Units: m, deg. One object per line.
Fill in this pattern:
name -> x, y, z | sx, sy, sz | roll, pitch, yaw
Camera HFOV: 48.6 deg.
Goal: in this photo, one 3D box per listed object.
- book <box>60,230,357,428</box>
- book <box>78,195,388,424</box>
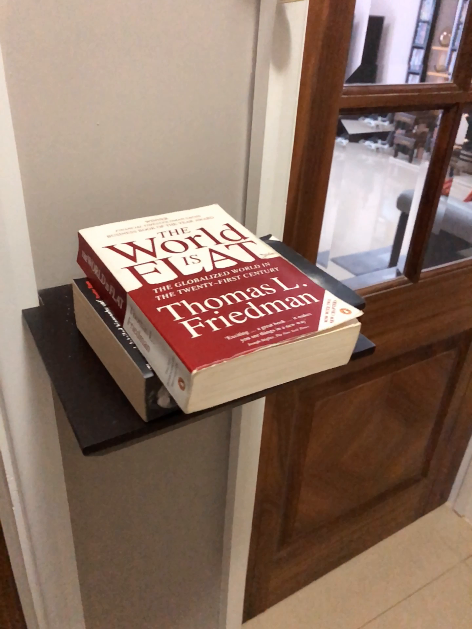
book -> -0.023, -0.004, 0.447 | 0.201, 0.040, 0.151 | -17, 45, -34
book -> -0.016, -0.025, 0.393 | 0.140, 0.040, 0.211 | -16, 38, -26
